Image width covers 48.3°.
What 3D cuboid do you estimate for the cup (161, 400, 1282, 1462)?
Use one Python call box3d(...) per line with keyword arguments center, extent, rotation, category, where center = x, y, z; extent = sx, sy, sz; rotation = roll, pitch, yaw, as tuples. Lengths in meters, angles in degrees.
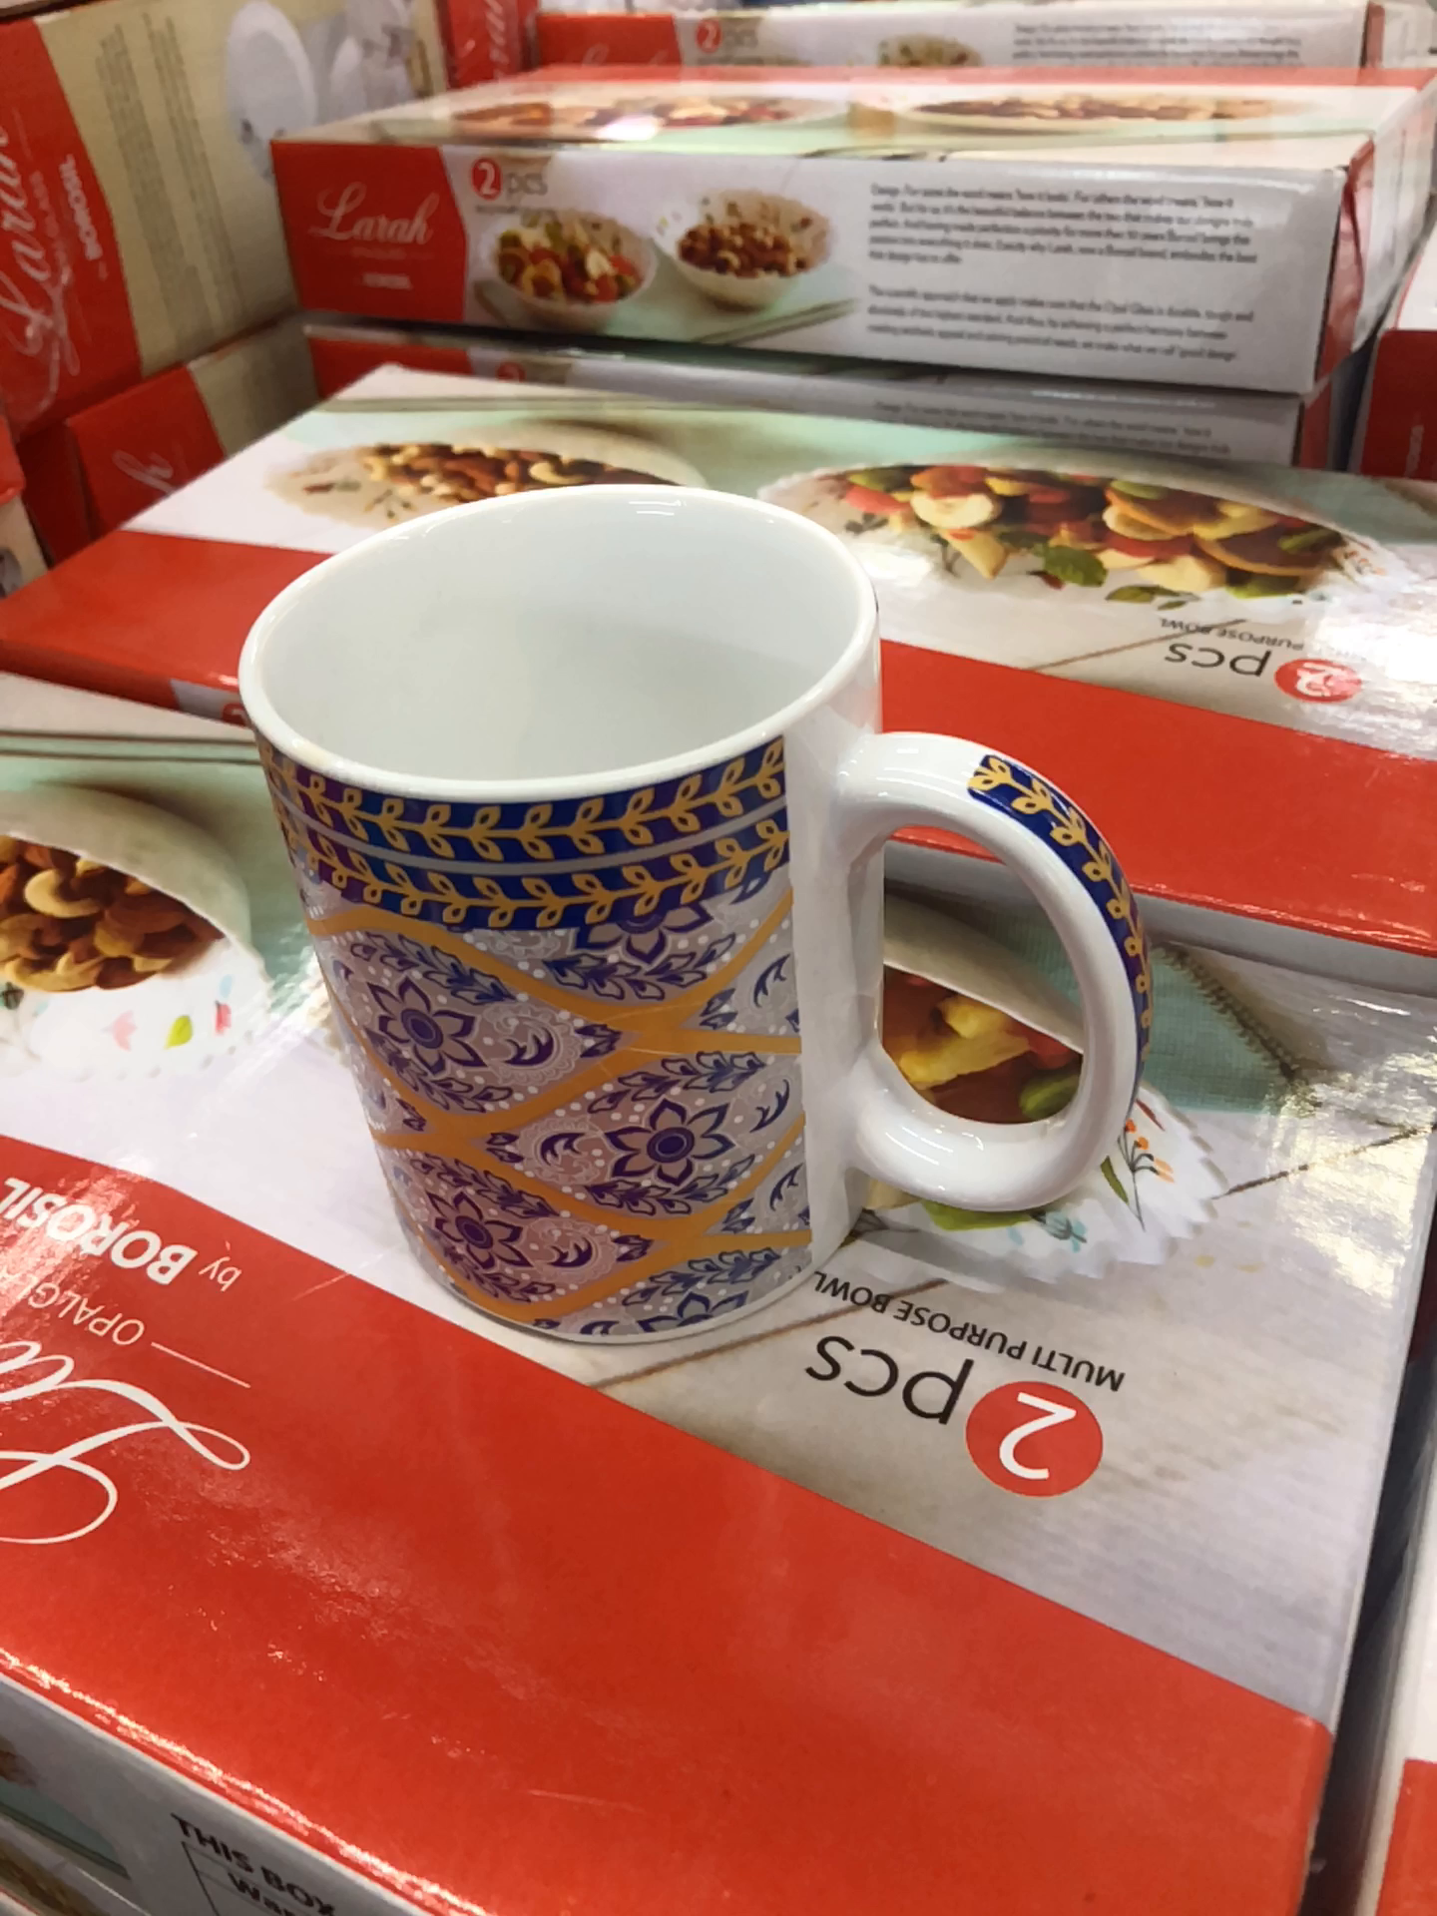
box3d(center=(0.008, -0.009, 0.215), extent=(0.110, 0.099, 0.080), rotation=(9, 39, 17), category="cup")
